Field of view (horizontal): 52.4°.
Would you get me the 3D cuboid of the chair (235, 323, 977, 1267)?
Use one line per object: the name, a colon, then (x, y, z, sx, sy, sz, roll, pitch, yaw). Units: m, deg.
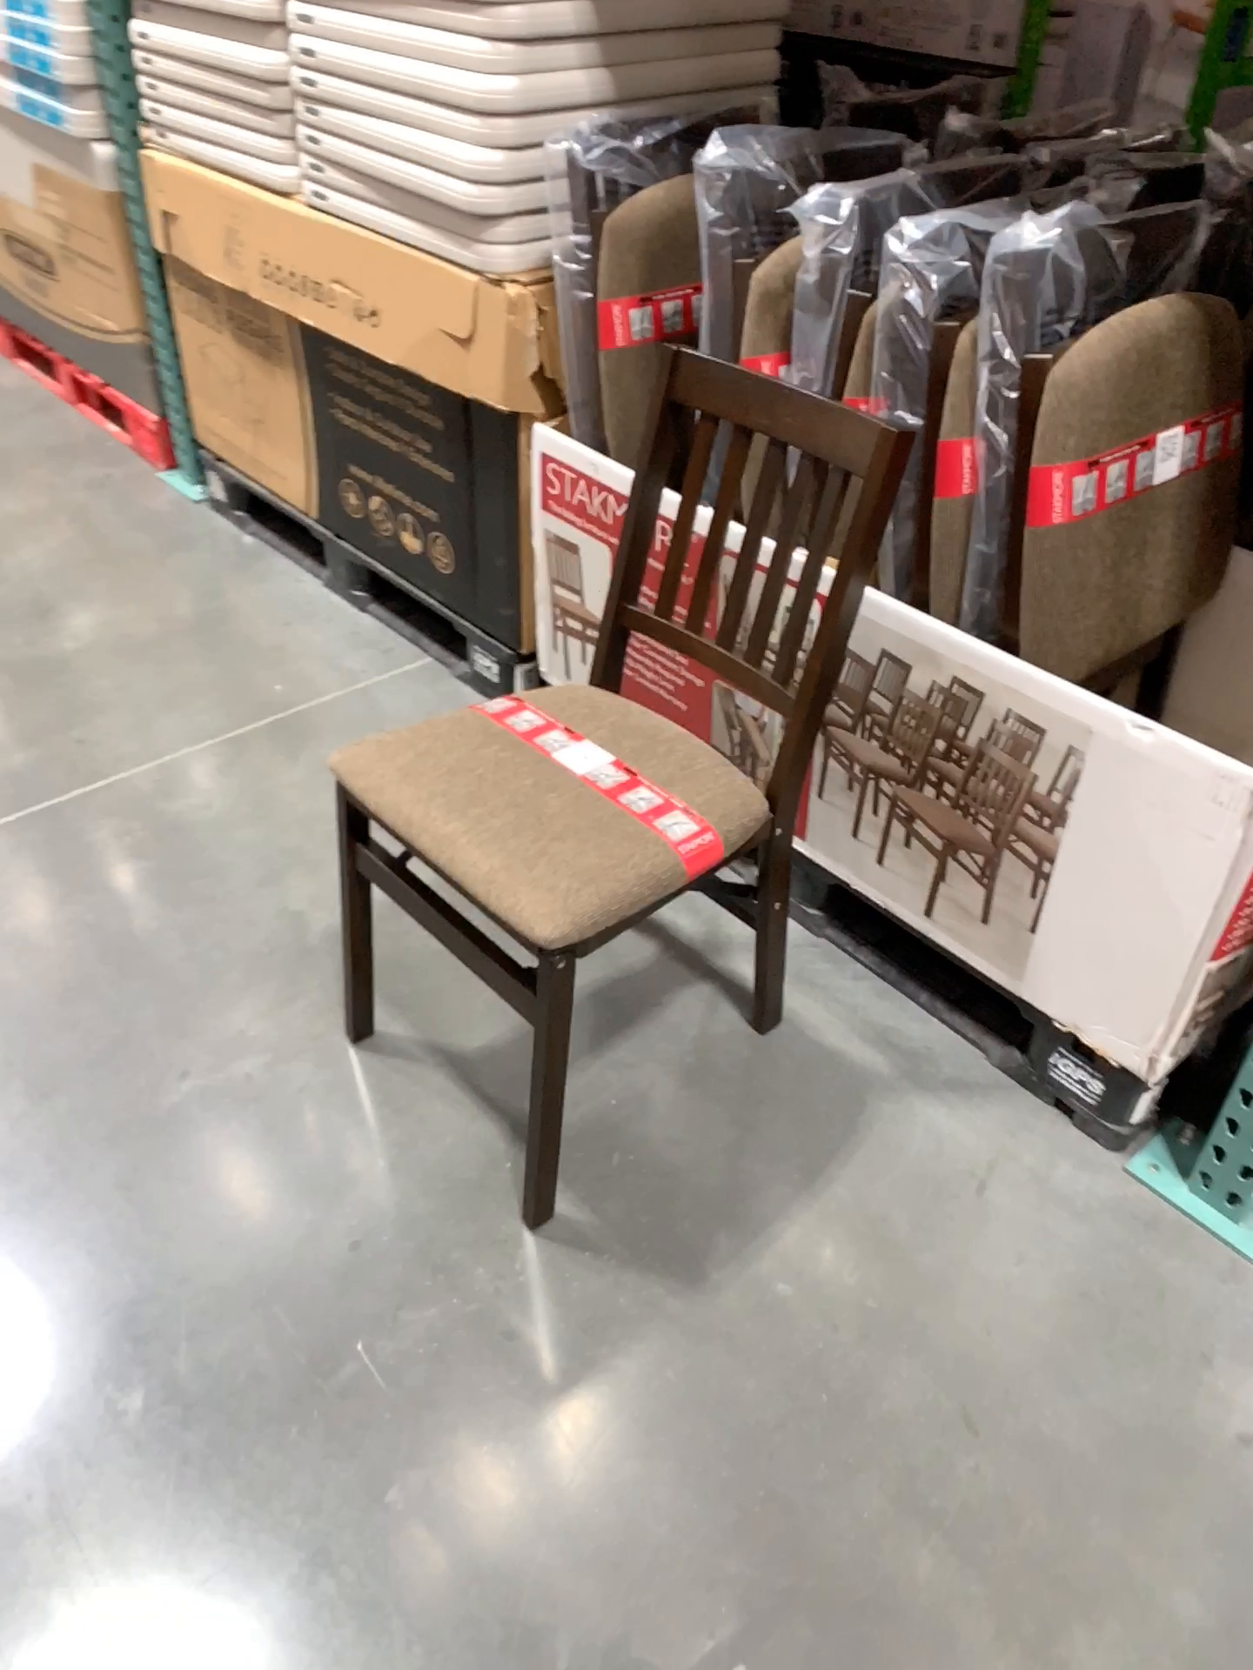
chair: (-0.020, -0.052, 1.470, 0.573, 0.837, 0.422, -29, 48, -33)
